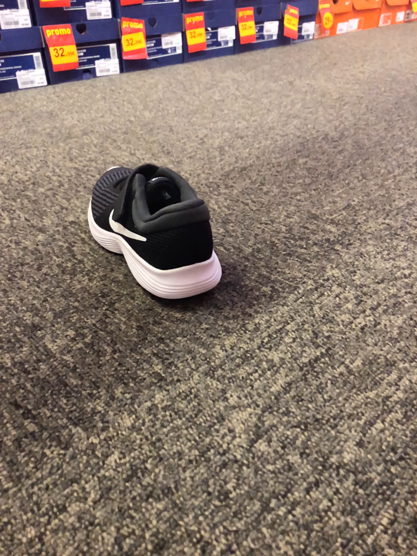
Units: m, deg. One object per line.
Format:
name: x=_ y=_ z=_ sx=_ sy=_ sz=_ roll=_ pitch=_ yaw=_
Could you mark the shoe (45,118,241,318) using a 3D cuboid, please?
shoe: x=-0.067 y=-0.070 z=0.409 sx=0.090 sy=0.080 sz=0.218 roll=-18 pitch=37 yaw=-23
